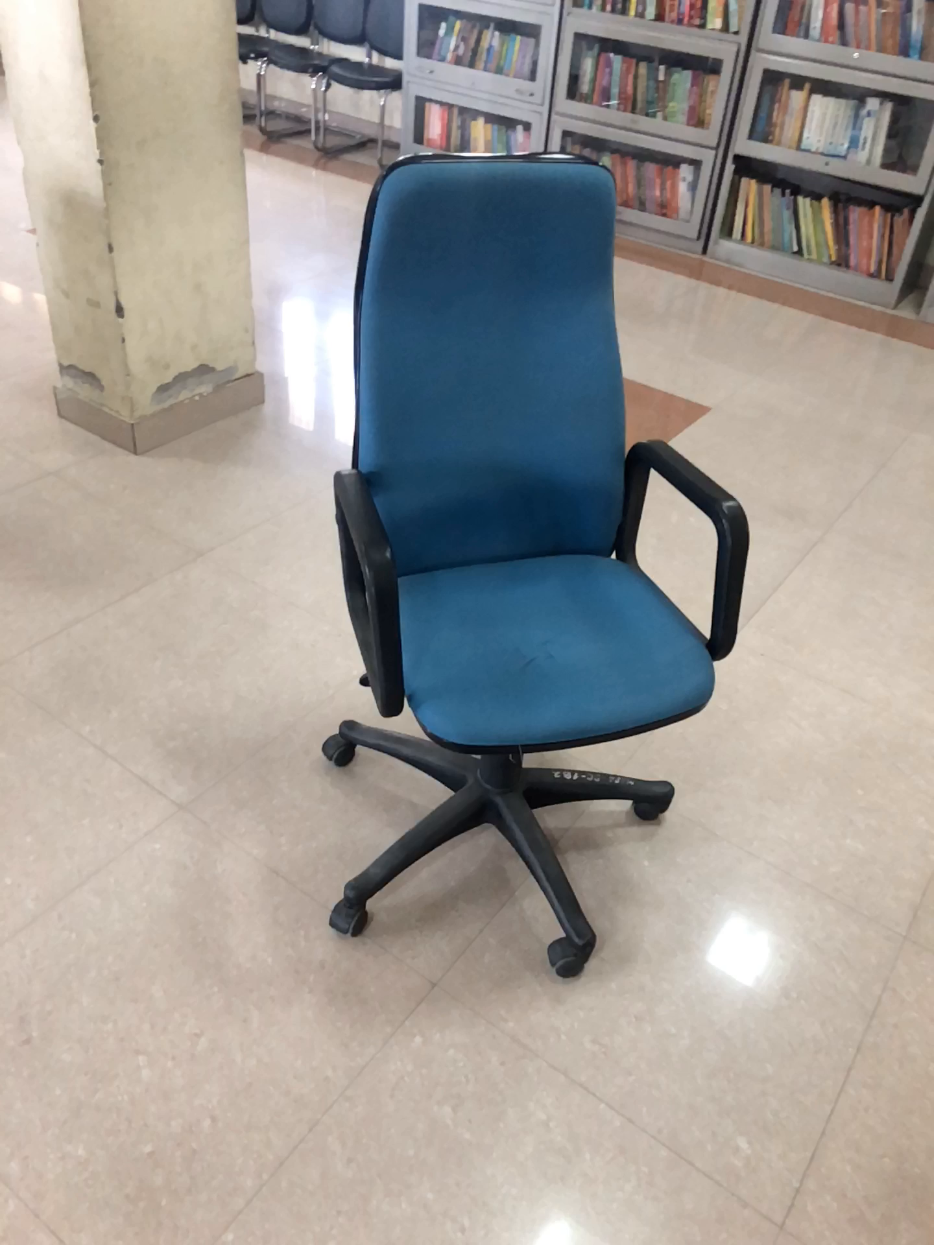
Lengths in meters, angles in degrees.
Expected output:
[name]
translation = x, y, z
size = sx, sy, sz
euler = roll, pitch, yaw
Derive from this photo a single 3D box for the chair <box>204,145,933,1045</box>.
[chair]
translation = 0.053, -0.073, 1.605
size = 0.740, 1.075, 0.763
euler = -8, 39, -17
